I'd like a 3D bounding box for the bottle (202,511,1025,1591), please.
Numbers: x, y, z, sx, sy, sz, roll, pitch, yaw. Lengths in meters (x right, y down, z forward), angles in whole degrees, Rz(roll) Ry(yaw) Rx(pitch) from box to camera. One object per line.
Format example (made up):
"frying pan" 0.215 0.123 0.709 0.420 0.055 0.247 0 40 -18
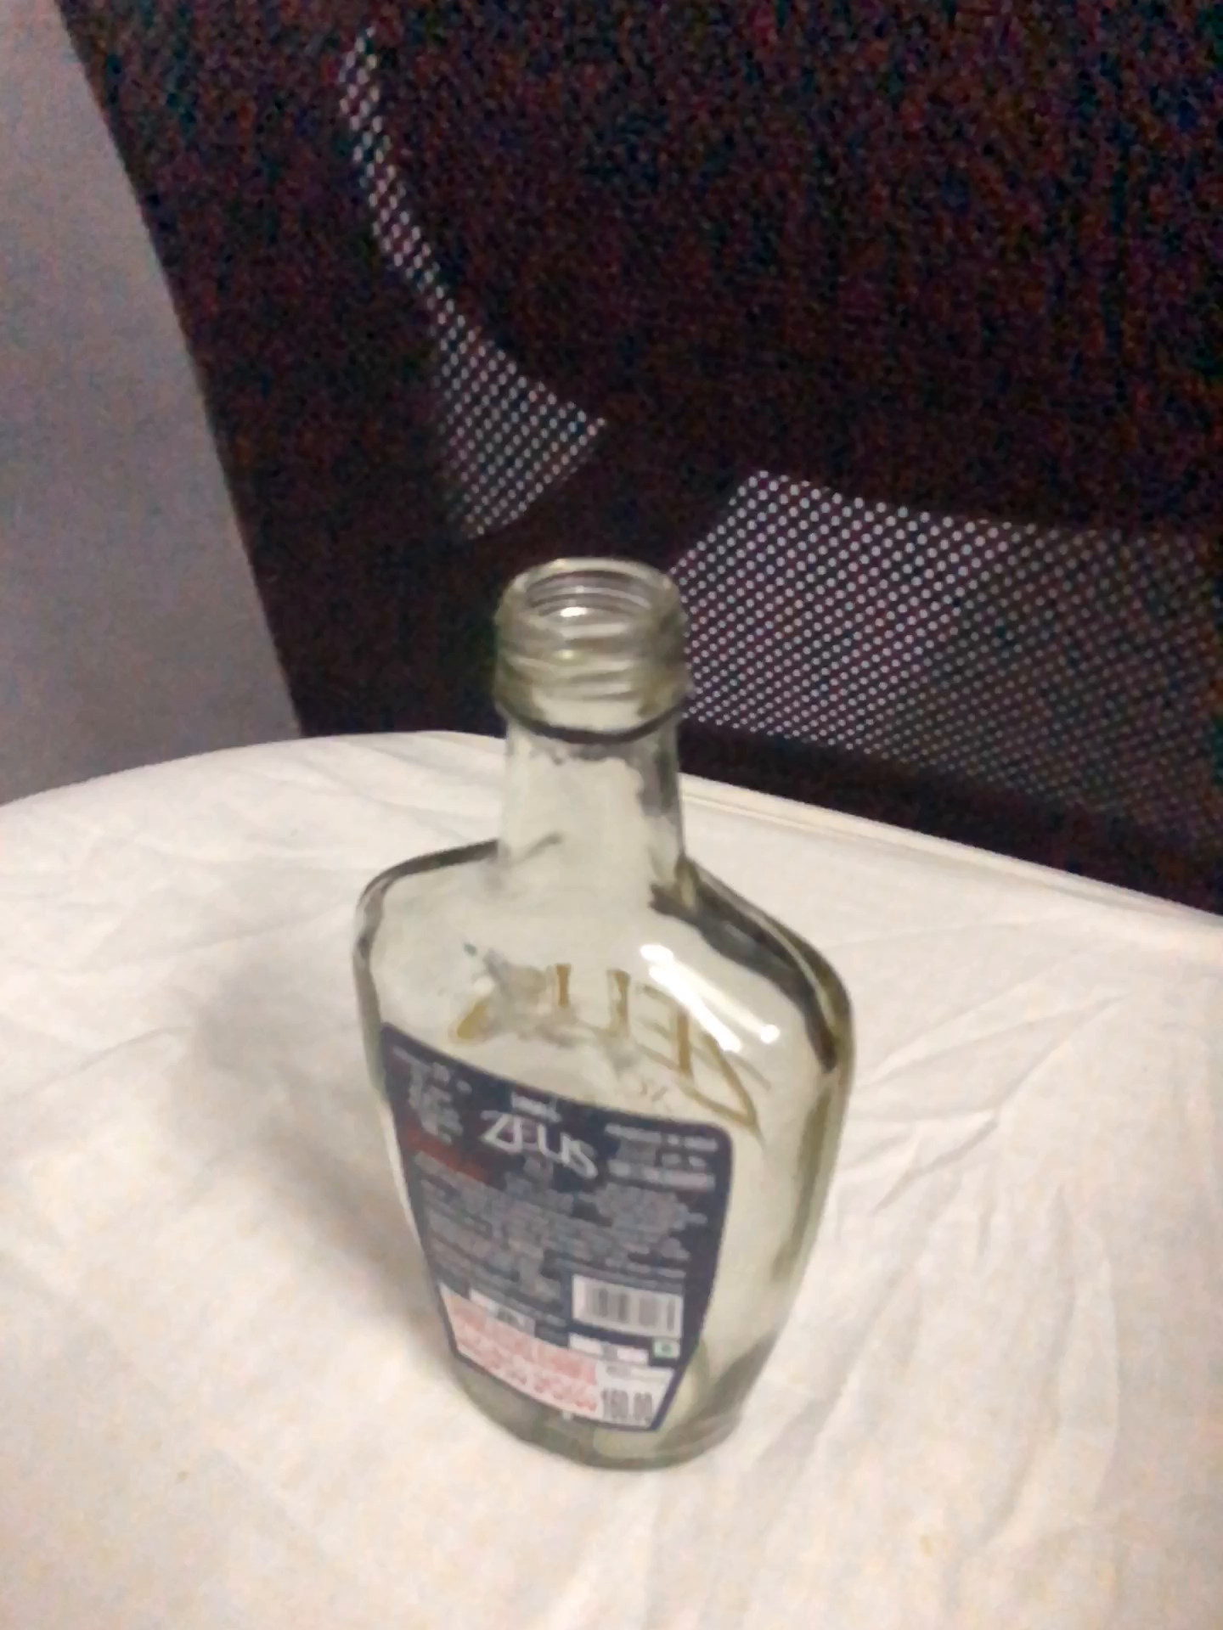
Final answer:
"bottle" 0.001 0.043 0.215 0.090 0.159 0.050 15 39 19
